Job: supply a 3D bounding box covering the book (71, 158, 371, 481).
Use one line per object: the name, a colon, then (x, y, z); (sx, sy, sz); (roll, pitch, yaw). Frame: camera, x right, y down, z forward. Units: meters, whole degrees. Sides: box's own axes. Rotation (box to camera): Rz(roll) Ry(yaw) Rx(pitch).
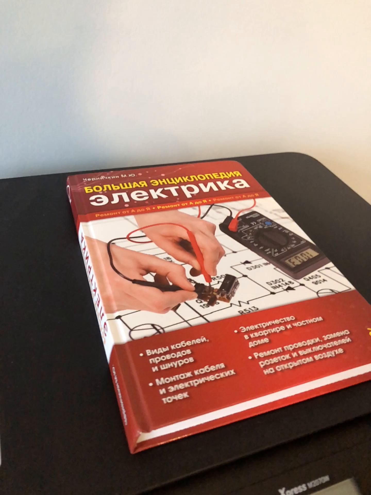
book: (0.020, 0.015, 0.307); (0.170, 0.040, 0.241); (-9, 42, -18)
